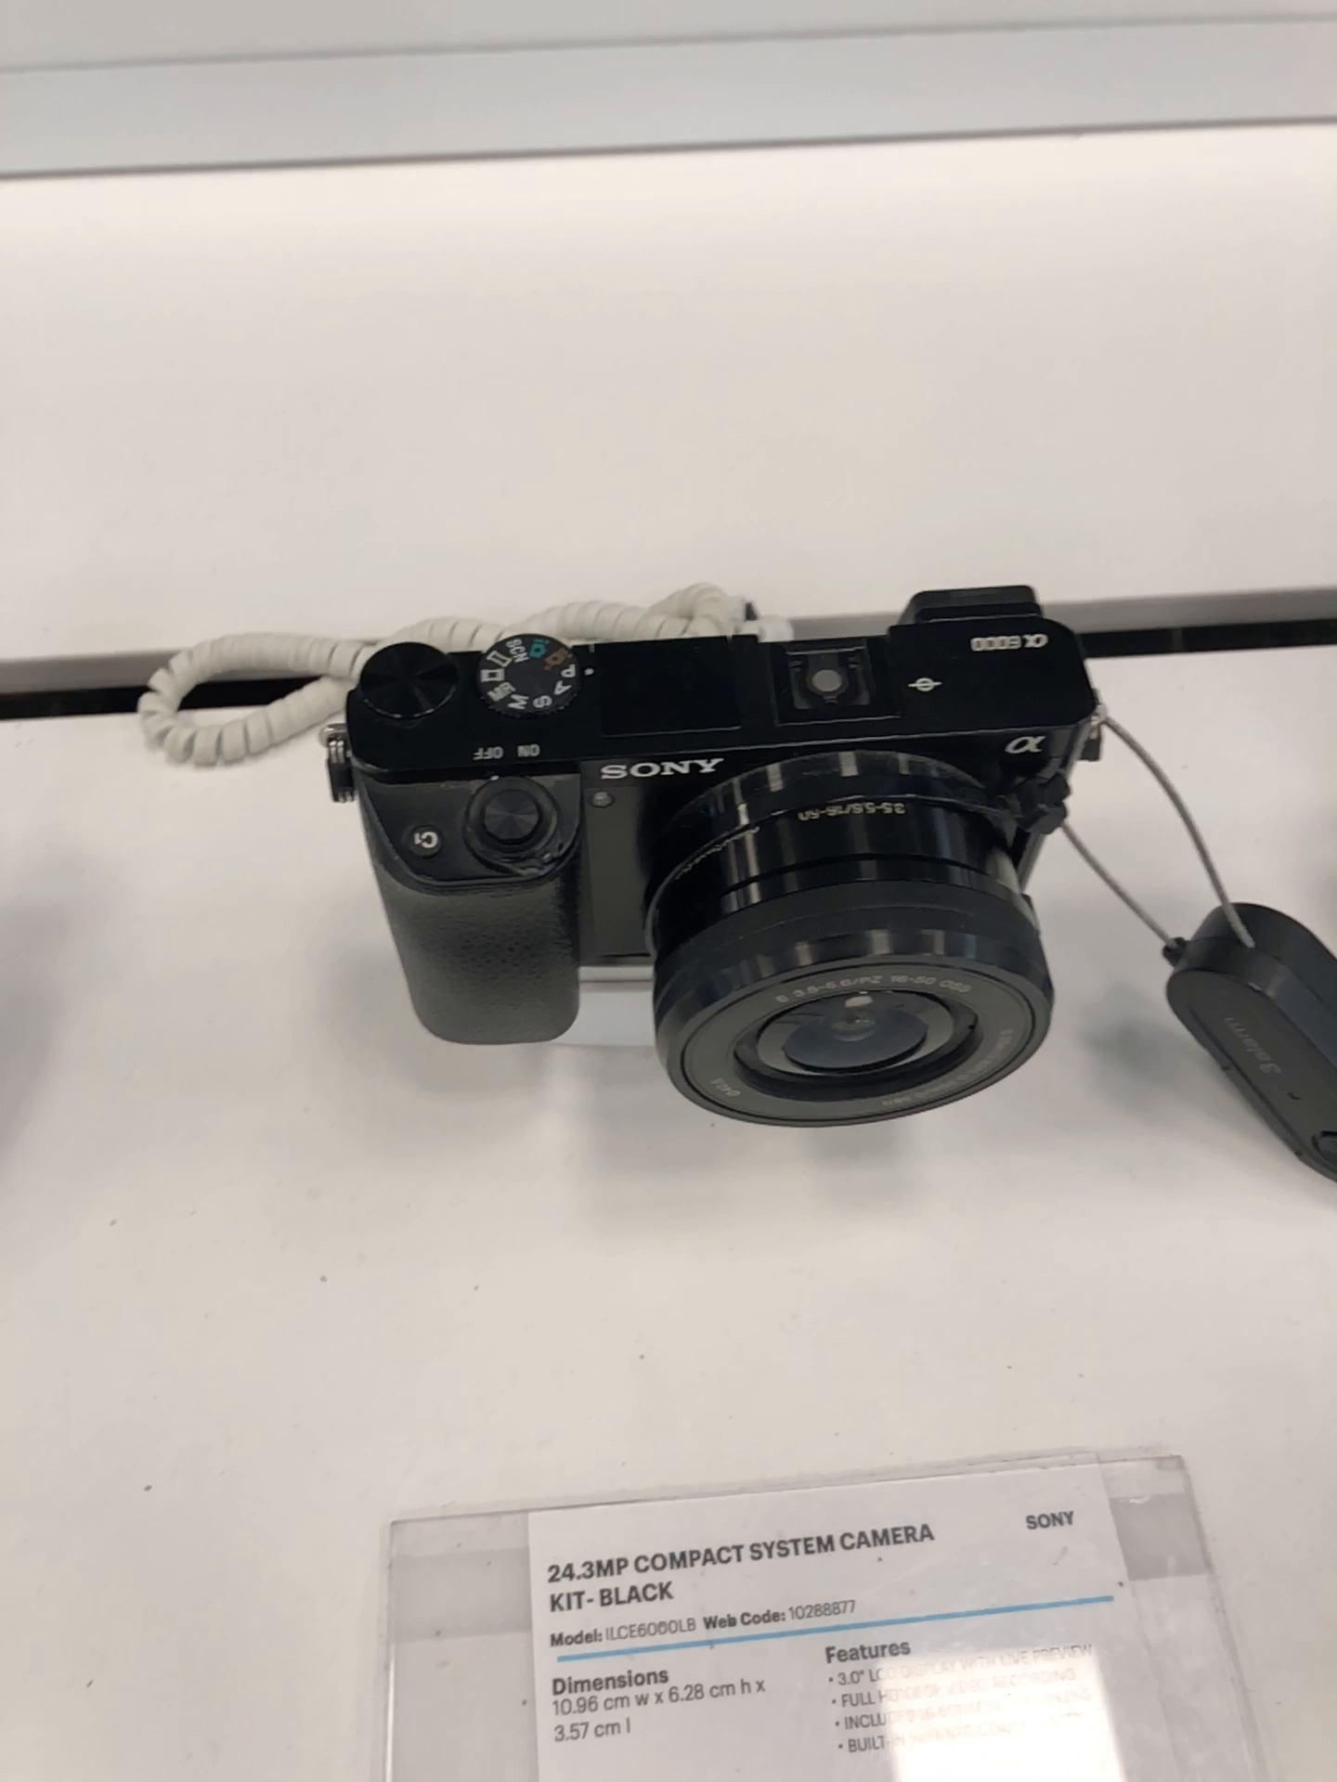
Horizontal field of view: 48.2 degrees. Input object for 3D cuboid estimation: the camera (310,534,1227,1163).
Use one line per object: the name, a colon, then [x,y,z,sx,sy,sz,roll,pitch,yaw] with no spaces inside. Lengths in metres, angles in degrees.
camera: [0.011,-0.006,0.258,0.130,0.070,0.070,-5,57,-4]
